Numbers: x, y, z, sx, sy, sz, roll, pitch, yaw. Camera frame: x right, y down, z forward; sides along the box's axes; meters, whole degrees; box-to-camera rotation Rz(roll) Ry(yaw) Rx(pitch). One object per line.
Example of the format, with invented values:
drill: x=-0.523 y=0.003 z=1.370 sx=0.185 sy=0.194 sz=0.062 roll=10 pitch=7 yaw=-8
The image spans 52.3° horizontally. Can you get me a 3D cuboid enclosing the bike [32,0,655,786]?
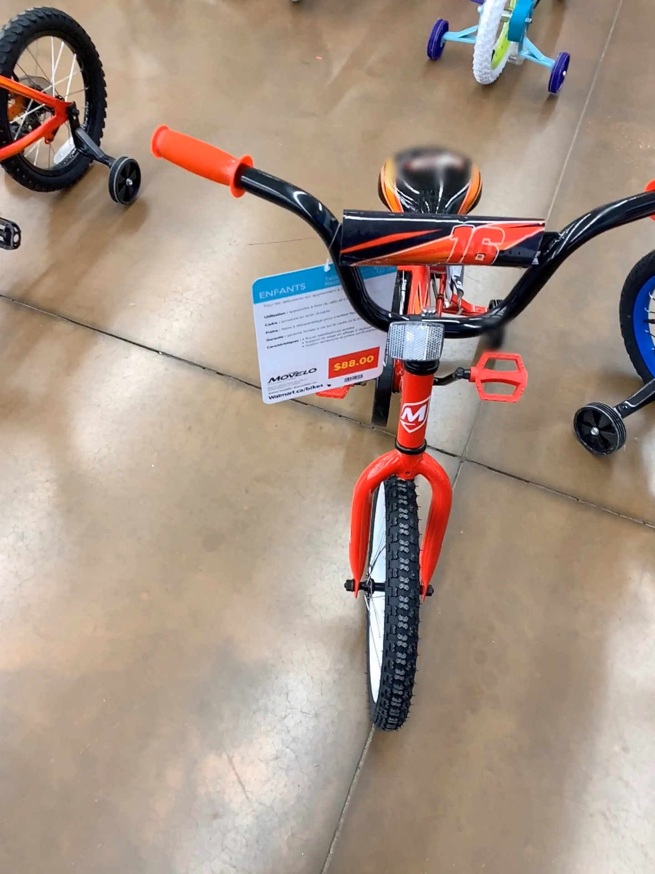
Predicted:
bike: x=0.154 y=-0.166 z=1.051 sx=0.515 sy=0.954 sz=1.145 roll=5 pitch=53 yaw=2
